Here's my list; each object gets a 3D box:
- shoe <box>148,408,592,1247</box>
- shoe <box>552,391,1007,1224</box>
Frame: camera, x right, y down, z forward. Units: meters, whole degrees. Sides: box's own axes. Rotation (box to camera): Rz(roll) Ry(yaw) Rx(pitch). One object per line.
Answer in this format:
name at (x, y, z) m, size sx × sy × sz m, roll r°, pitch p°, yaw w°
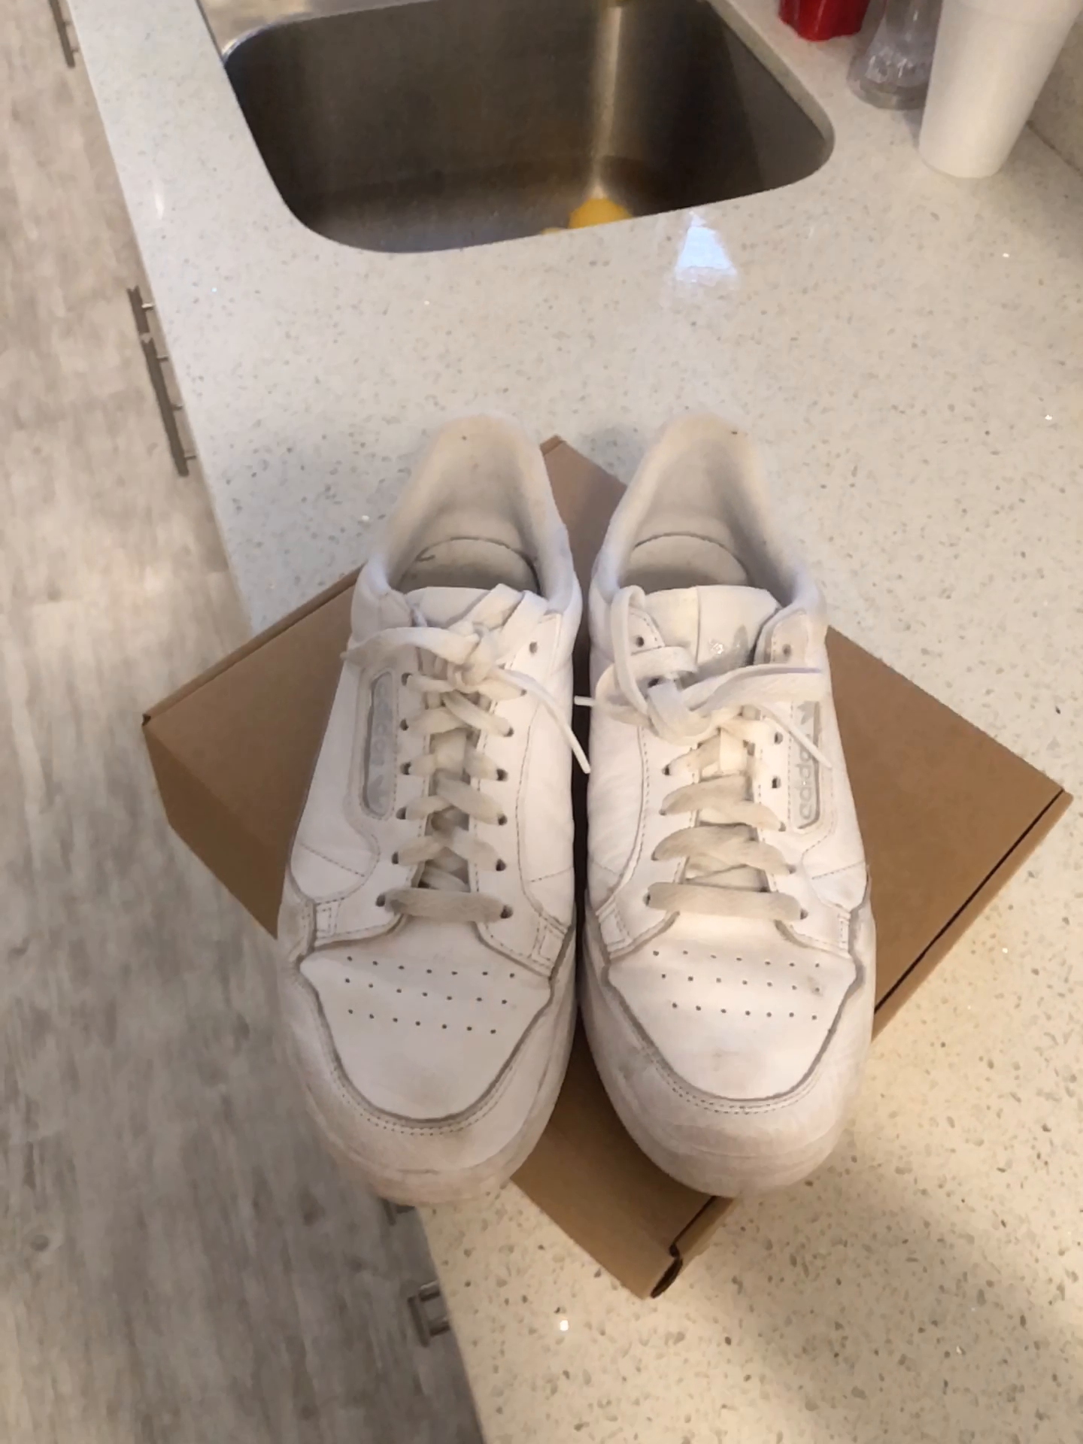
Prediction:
shoe at (-0.040, 0.023, 0.409) m, size 0.107 × 0.100 × 0.269 m, roll 2°, pitch 55°, yaw -1°
shoe at (0.062, 0.017, 0.410) m, size 0.107 × 0.100 × 0.269 m, roll 2°, pitch 55°, yaw -1°
